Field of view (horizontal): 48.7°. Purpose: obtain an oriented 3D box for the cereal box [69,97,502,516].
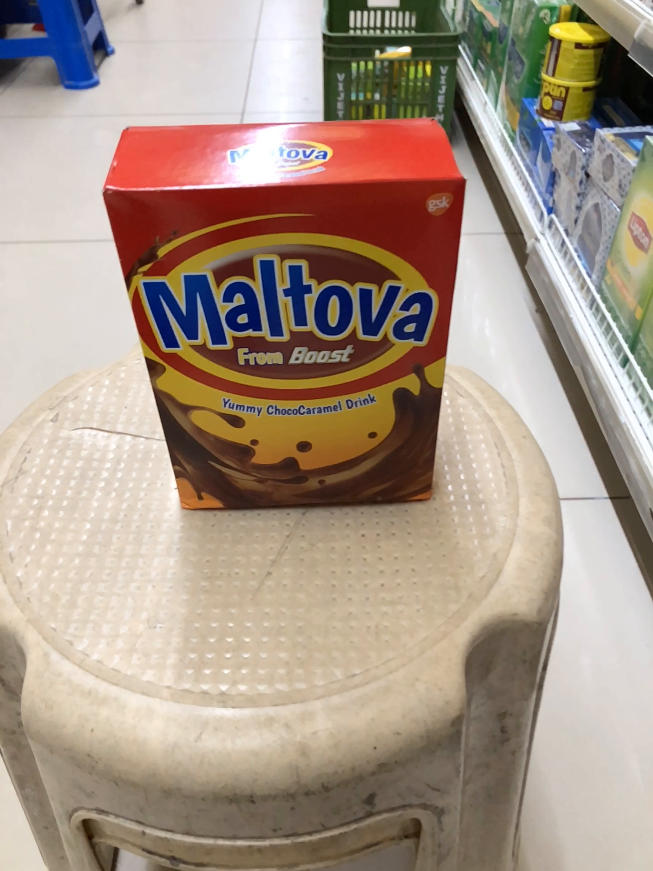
[{"bbox_3d":[-0.014,-0.051,0.336,0.150,0.179,0.070,-2,42,-1],"label":"cereal box"}]
